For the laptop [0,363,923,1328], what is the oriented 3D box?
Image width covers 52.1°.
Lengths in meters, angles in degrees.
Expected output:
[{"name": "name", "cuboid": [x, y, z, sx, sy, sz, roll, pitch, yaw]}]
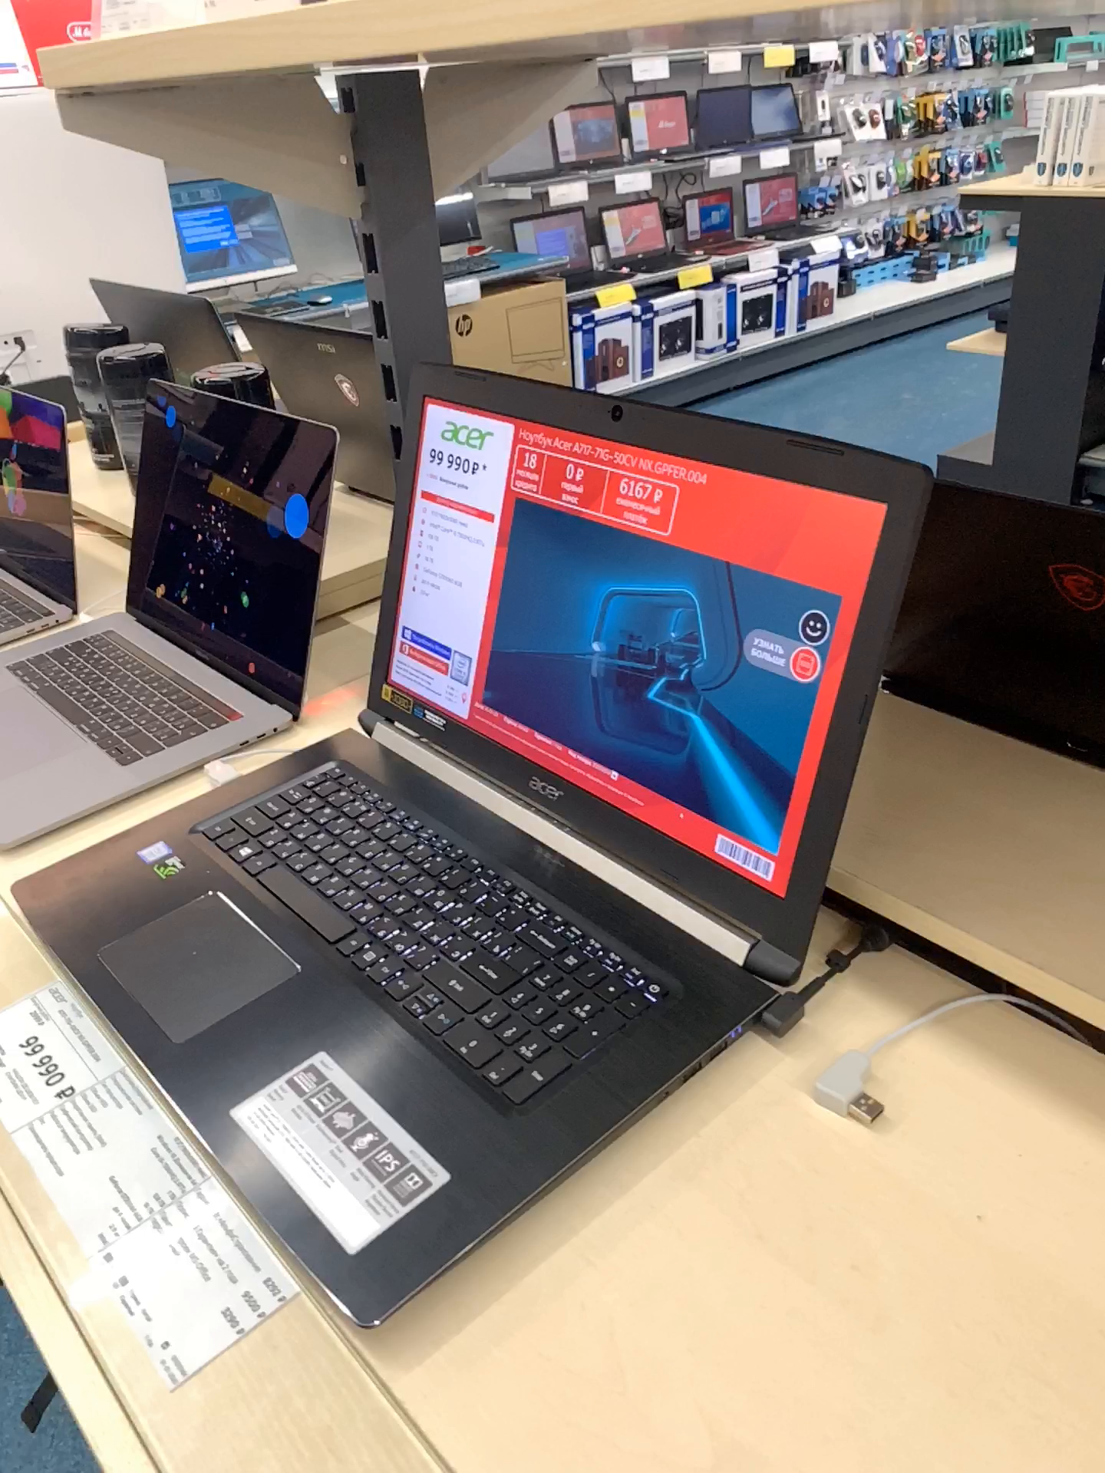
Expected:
[{"name": "laptop", "cuboid": [-0.087, -0.014, 0.623, 0.362, 0.248, 0.408, -28, 38, -33]}]
